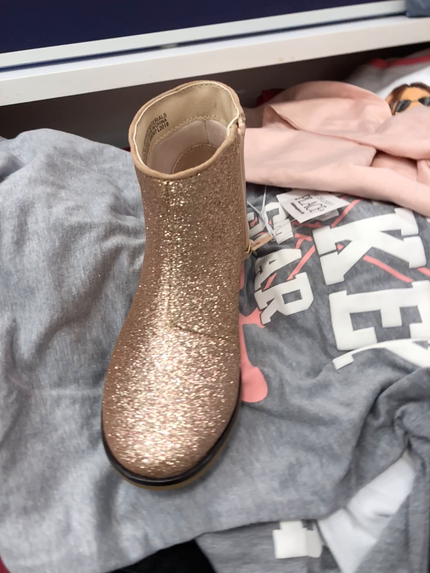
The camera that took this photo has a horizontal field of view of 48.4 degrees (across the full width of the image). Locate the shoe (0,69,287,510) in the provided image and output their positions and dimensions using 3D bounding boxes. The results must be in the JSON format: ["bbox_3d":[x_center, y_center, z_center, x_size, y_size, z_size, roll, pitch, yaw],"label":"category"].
[{"bbox_3d":[-0.011,-0.026,0.275,0.083,0.129,0.238,3,36,12],"label":"shoe"}]
